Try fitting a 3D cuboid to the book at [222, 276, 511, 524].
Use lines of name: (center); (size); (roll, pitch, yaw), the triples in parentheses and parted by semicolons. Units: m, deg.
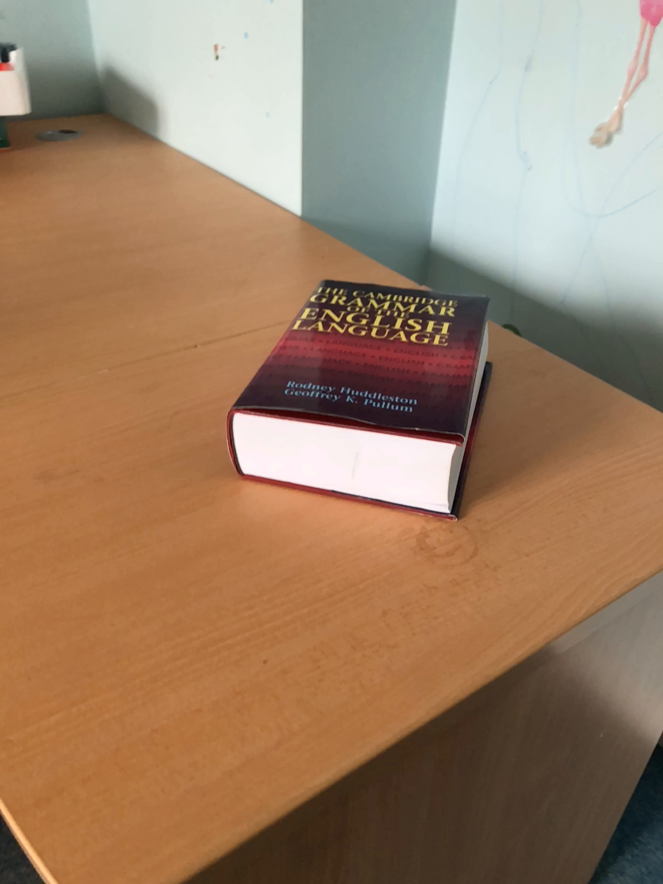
book: (0.047, -0.055, 0.653); (0.194, 0.070, 0.262); (9, 37, 13)
